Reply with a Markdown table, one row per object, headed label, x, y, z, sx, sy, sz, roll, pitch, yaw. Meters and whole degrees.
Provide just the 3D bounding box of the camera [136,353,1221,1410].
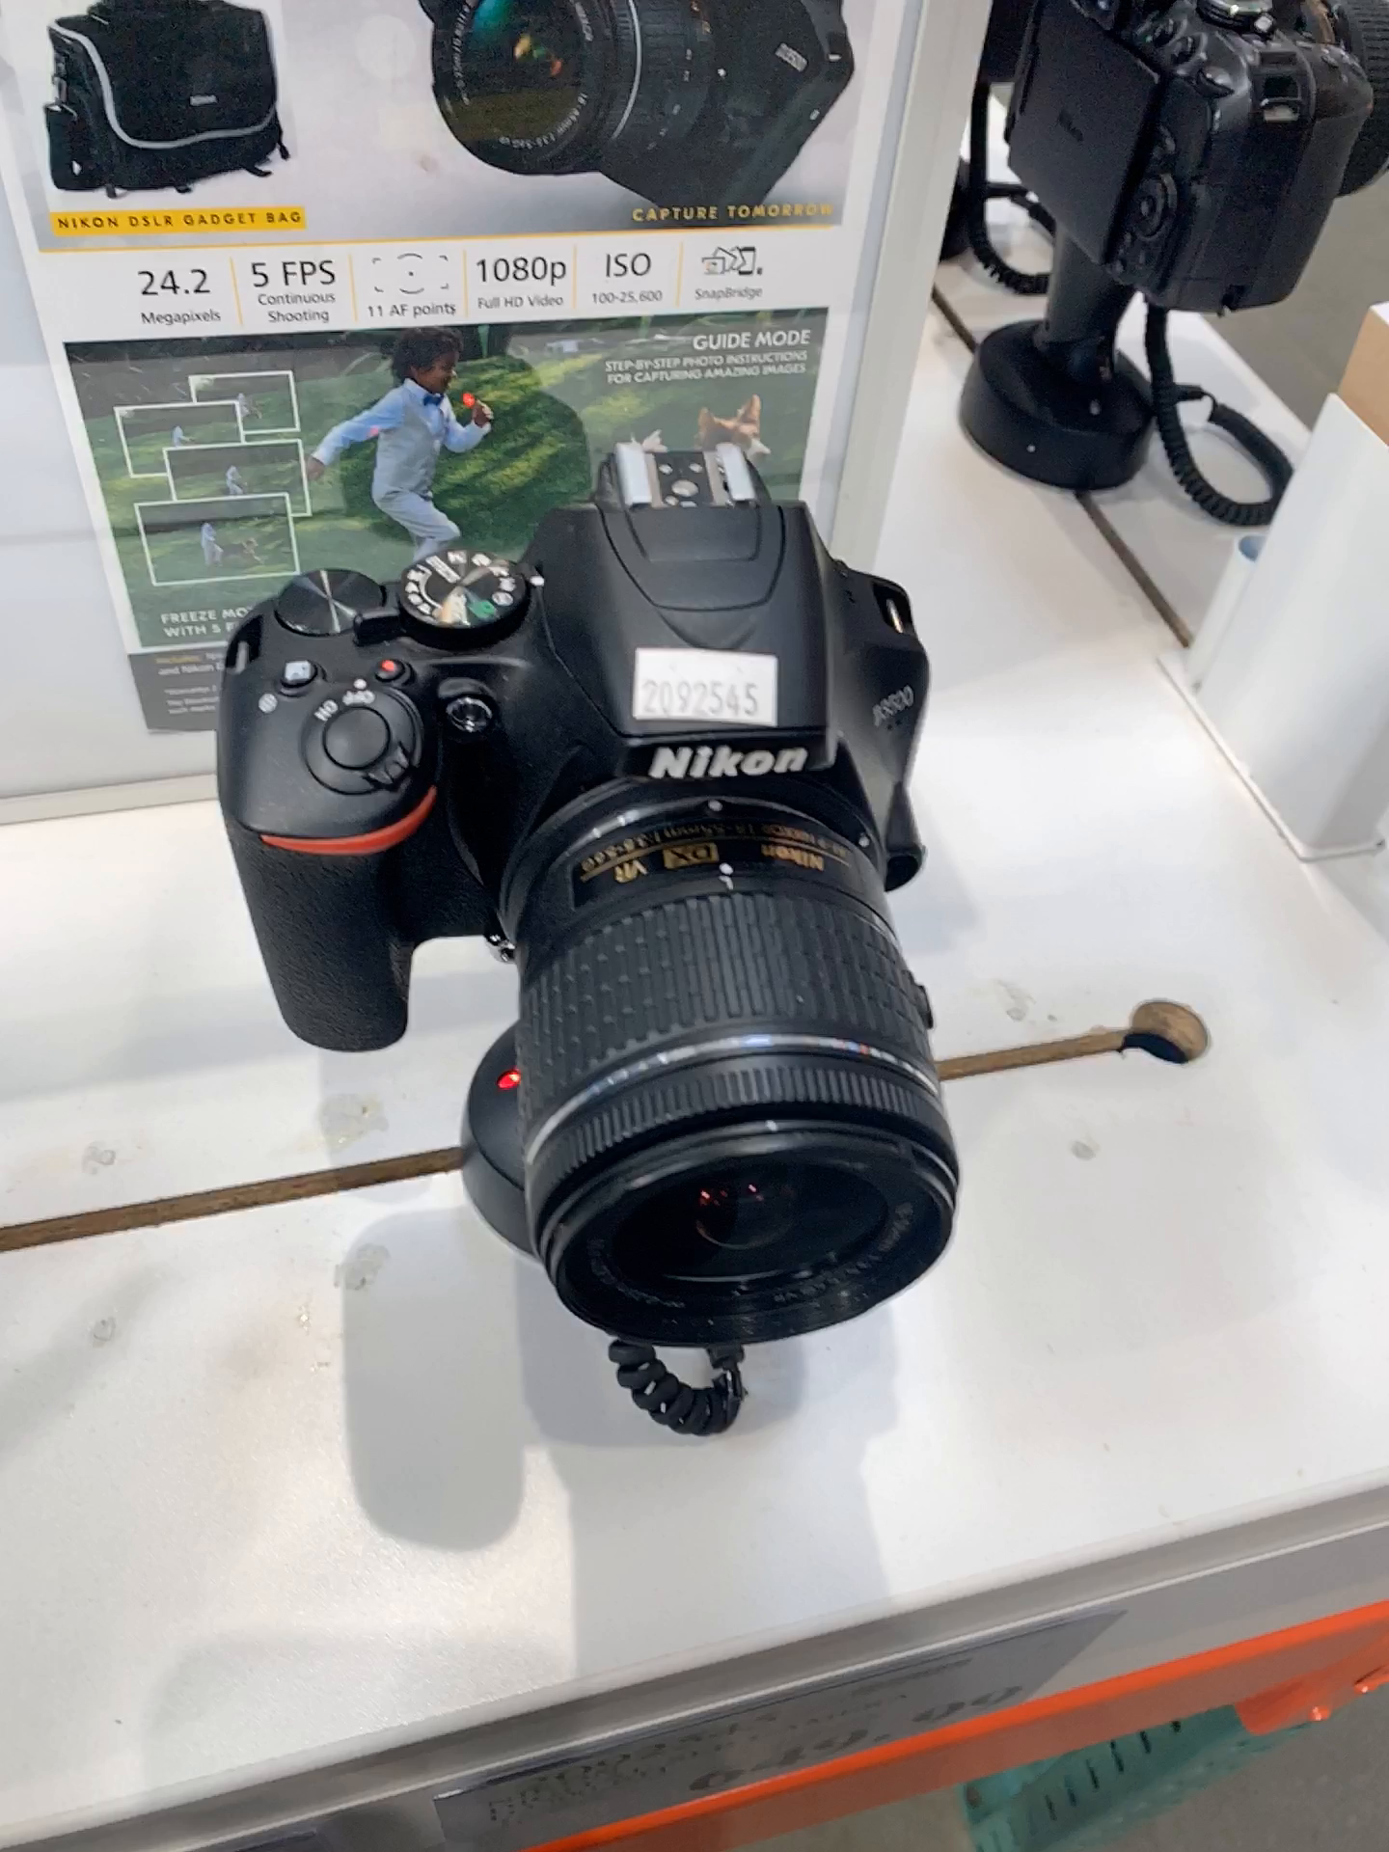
| label | x | y | z | sx | sy | sz | roll | pitch | yaw |
| --- | --- | --- | --- | --- | --- | --- | --- | --- | --- |
| camera | -0.012 | -0.011 | 0.227 | 0.116 | 0.099 | 0.121 | -6 | 50 | -10 |
